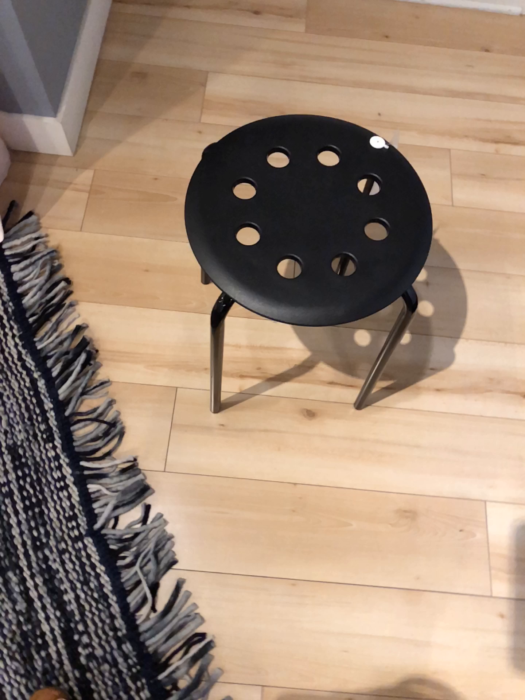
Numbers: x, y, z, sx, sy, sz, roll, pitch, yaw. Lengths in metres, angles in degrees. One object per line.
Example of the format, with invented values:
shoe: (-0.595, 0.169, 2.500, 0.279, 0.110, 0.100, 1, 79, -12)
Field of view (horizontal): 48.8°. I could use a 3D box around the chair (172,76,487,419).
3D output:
chair: (0.061, -0.133, 0.929, 0.370, 0.400, 0.380, -1, 68, -4)
